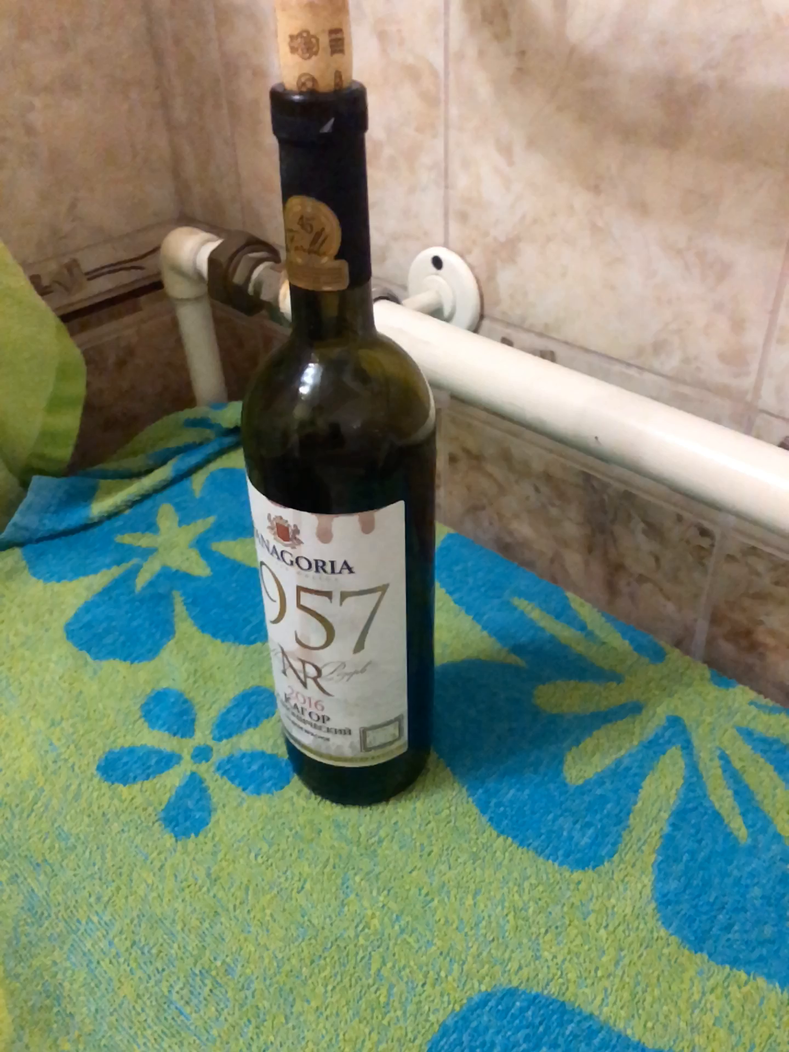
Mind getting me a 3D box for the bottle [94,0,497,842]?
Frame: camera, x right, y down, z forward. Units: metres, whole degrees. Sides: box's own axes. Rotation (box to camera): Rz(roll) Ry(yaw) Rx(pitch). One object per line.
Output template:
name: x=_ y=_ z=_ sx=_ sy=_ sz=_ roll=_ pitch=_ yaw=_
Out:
bottle: x=-0.021 y=-0.022 z=0.336 sx=0.080 sy=0.318 sz=0.080 roll=-2 pitch=36 yaw=2
